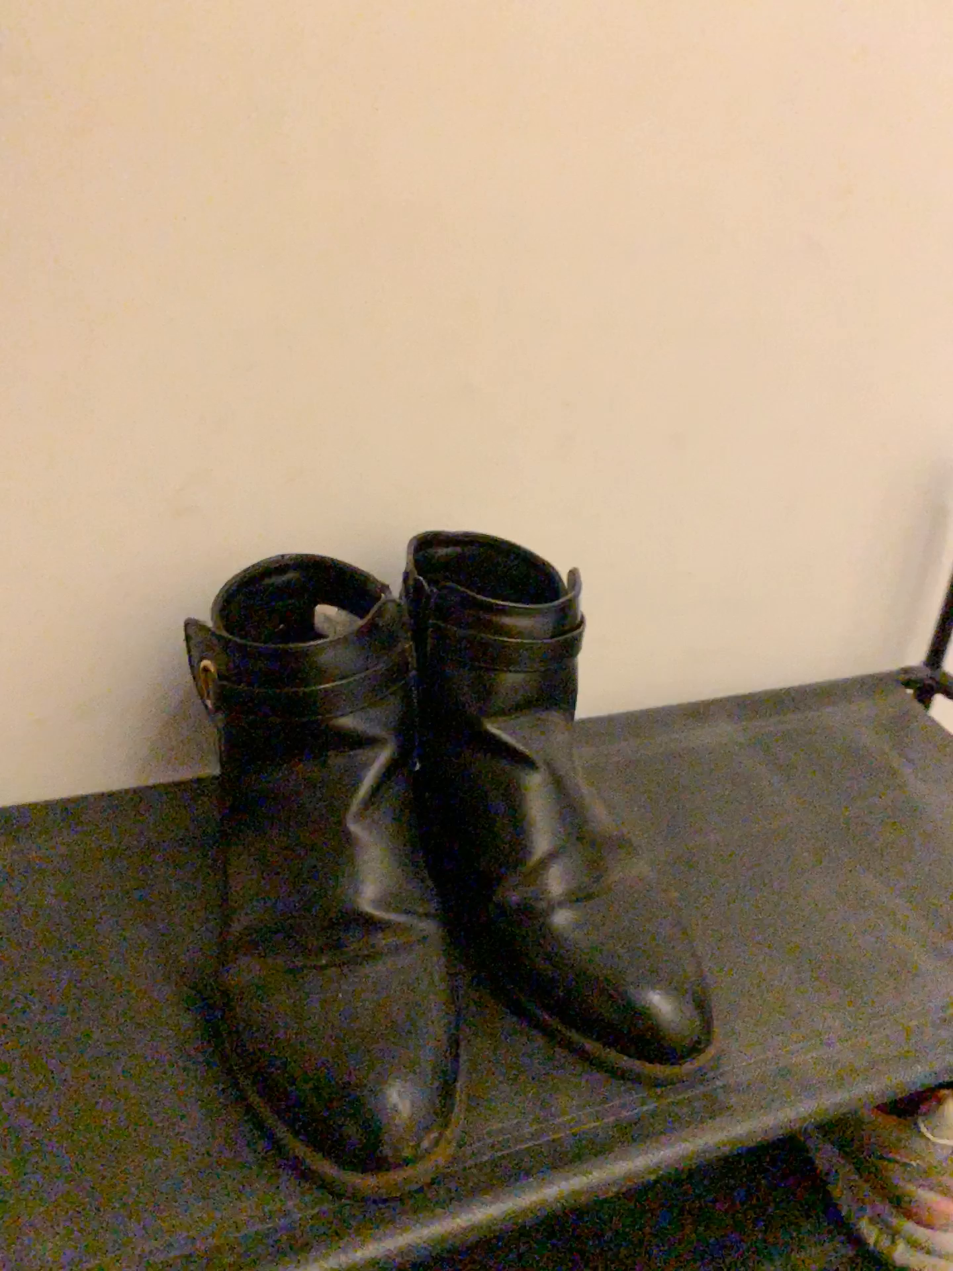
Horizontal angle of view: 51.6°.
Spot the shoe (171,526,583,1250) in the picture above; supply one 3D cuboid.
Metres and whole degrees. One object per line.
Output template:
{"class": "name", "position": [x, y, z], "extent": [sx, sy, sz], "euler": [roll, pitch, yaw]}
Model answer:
{"class": "shoe", "position": [-0.059, 0.076, 0.402], "extent": [0.100, 0.169, 0.222], "euler": [-5, 27, -20]}

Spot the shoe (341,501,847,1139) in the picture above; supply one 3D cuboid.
{"class": "shoe", "position": [0.027, 0.059, 0.460], "extent": [0.100, 0.169, 0.241], "euler": [-9, 28, -26]}
